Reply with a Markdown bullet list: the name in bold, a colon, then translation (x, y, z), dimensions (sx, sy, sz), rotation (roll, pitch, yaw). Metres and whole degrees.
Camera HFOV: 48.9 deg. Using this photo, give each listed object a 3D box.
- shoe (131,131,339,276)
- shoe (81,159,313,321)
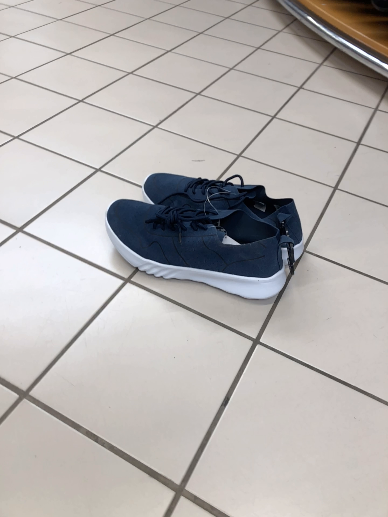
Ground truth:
- **shoe**: translation (0.056, -0.090, 0.665), dimensions (0.290, 0.109, 0.101), rotation (19, 46, 13)
- **shoe**: translation (0.001, -0.029, 0.604), dimensions (0.290, 0.119, 0.101), rotation (17, 46, 11)
